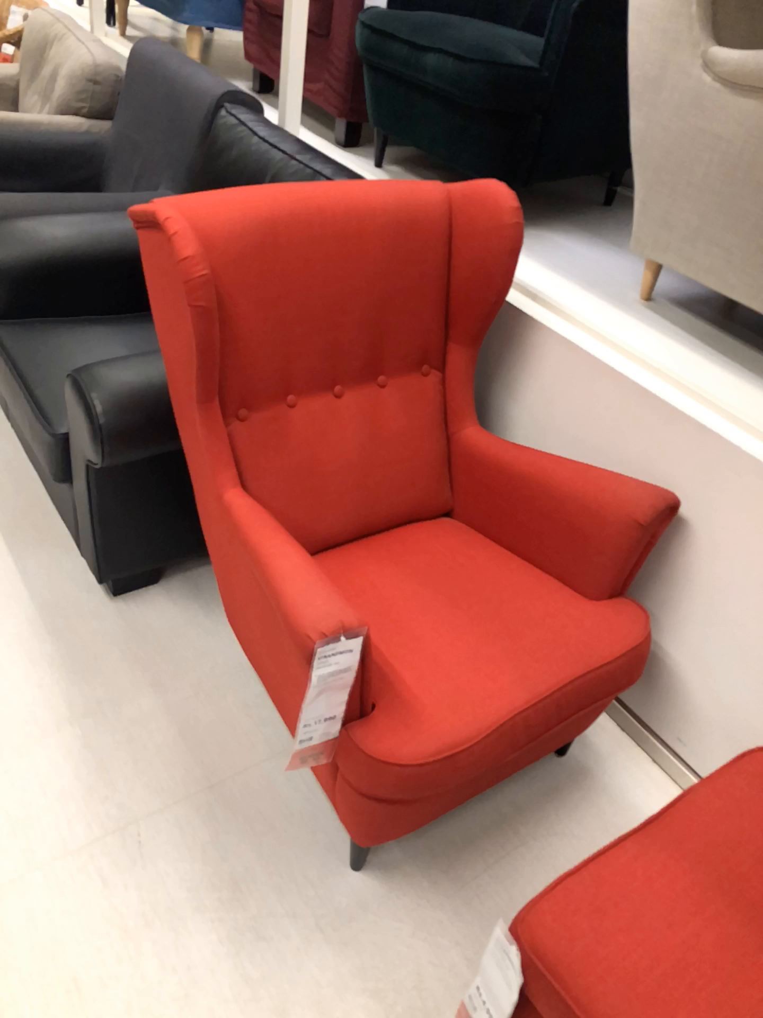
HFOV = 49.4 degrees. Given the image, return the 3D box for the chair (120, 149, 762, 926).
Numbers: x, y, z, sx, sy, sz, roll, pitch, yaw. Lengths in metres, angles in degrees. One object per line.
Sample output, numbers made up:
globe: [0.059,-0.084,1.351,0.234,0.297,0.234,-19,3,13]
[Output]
chair: [0.119,-0.040,1.588,0.902,0.973,0.844,-17,45,-31]
